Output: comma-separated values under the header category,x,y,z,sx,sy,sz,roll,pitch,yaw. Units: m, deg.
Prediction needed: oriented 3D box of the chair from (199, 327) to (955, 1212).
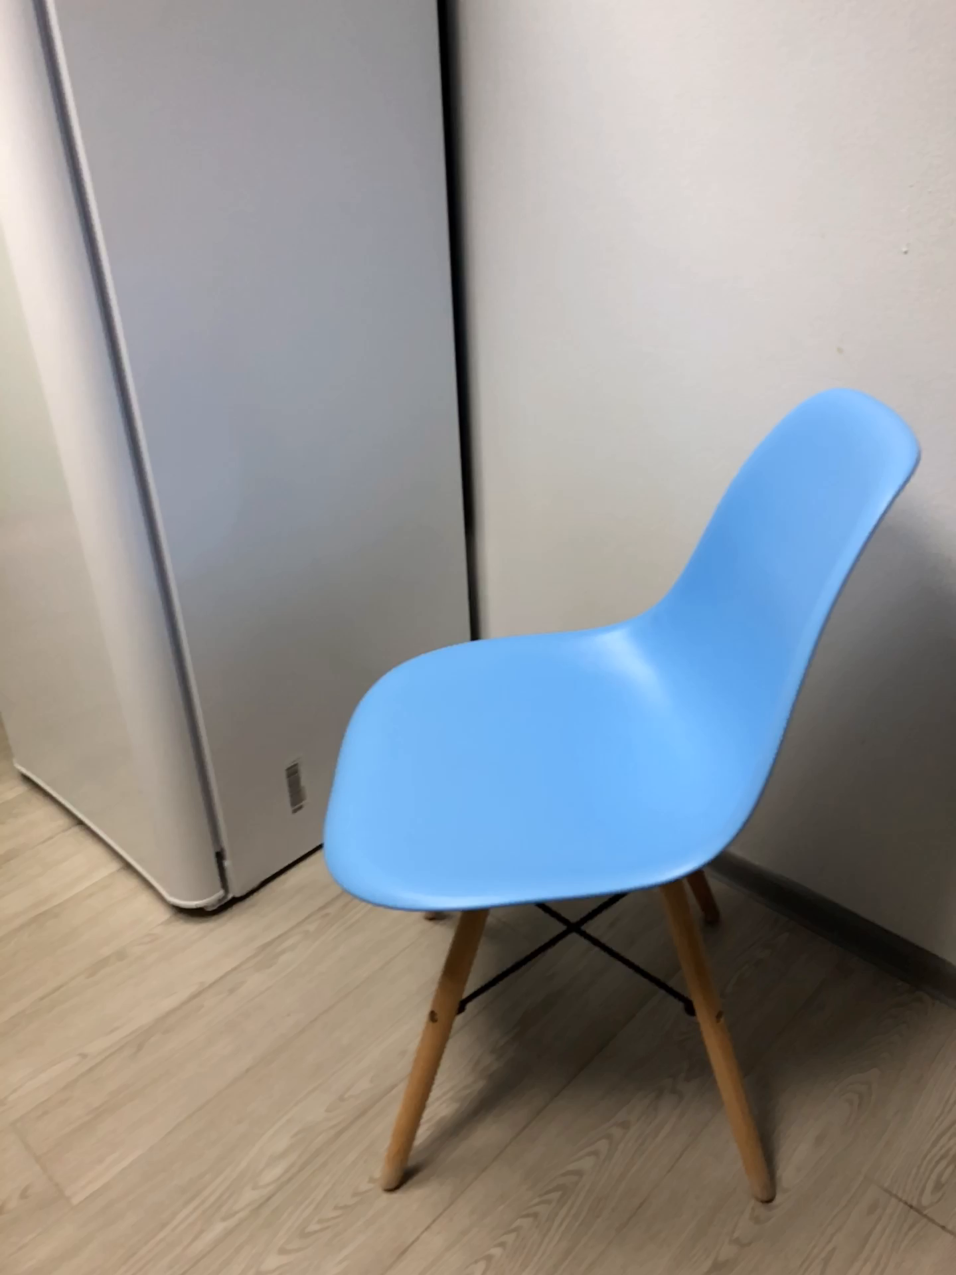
category,x,y,z,sx,sy,sz,roll,pitch,yaw
chair,0.104,0.126,1.092,0.530,0.776,0.463,1,29,6
